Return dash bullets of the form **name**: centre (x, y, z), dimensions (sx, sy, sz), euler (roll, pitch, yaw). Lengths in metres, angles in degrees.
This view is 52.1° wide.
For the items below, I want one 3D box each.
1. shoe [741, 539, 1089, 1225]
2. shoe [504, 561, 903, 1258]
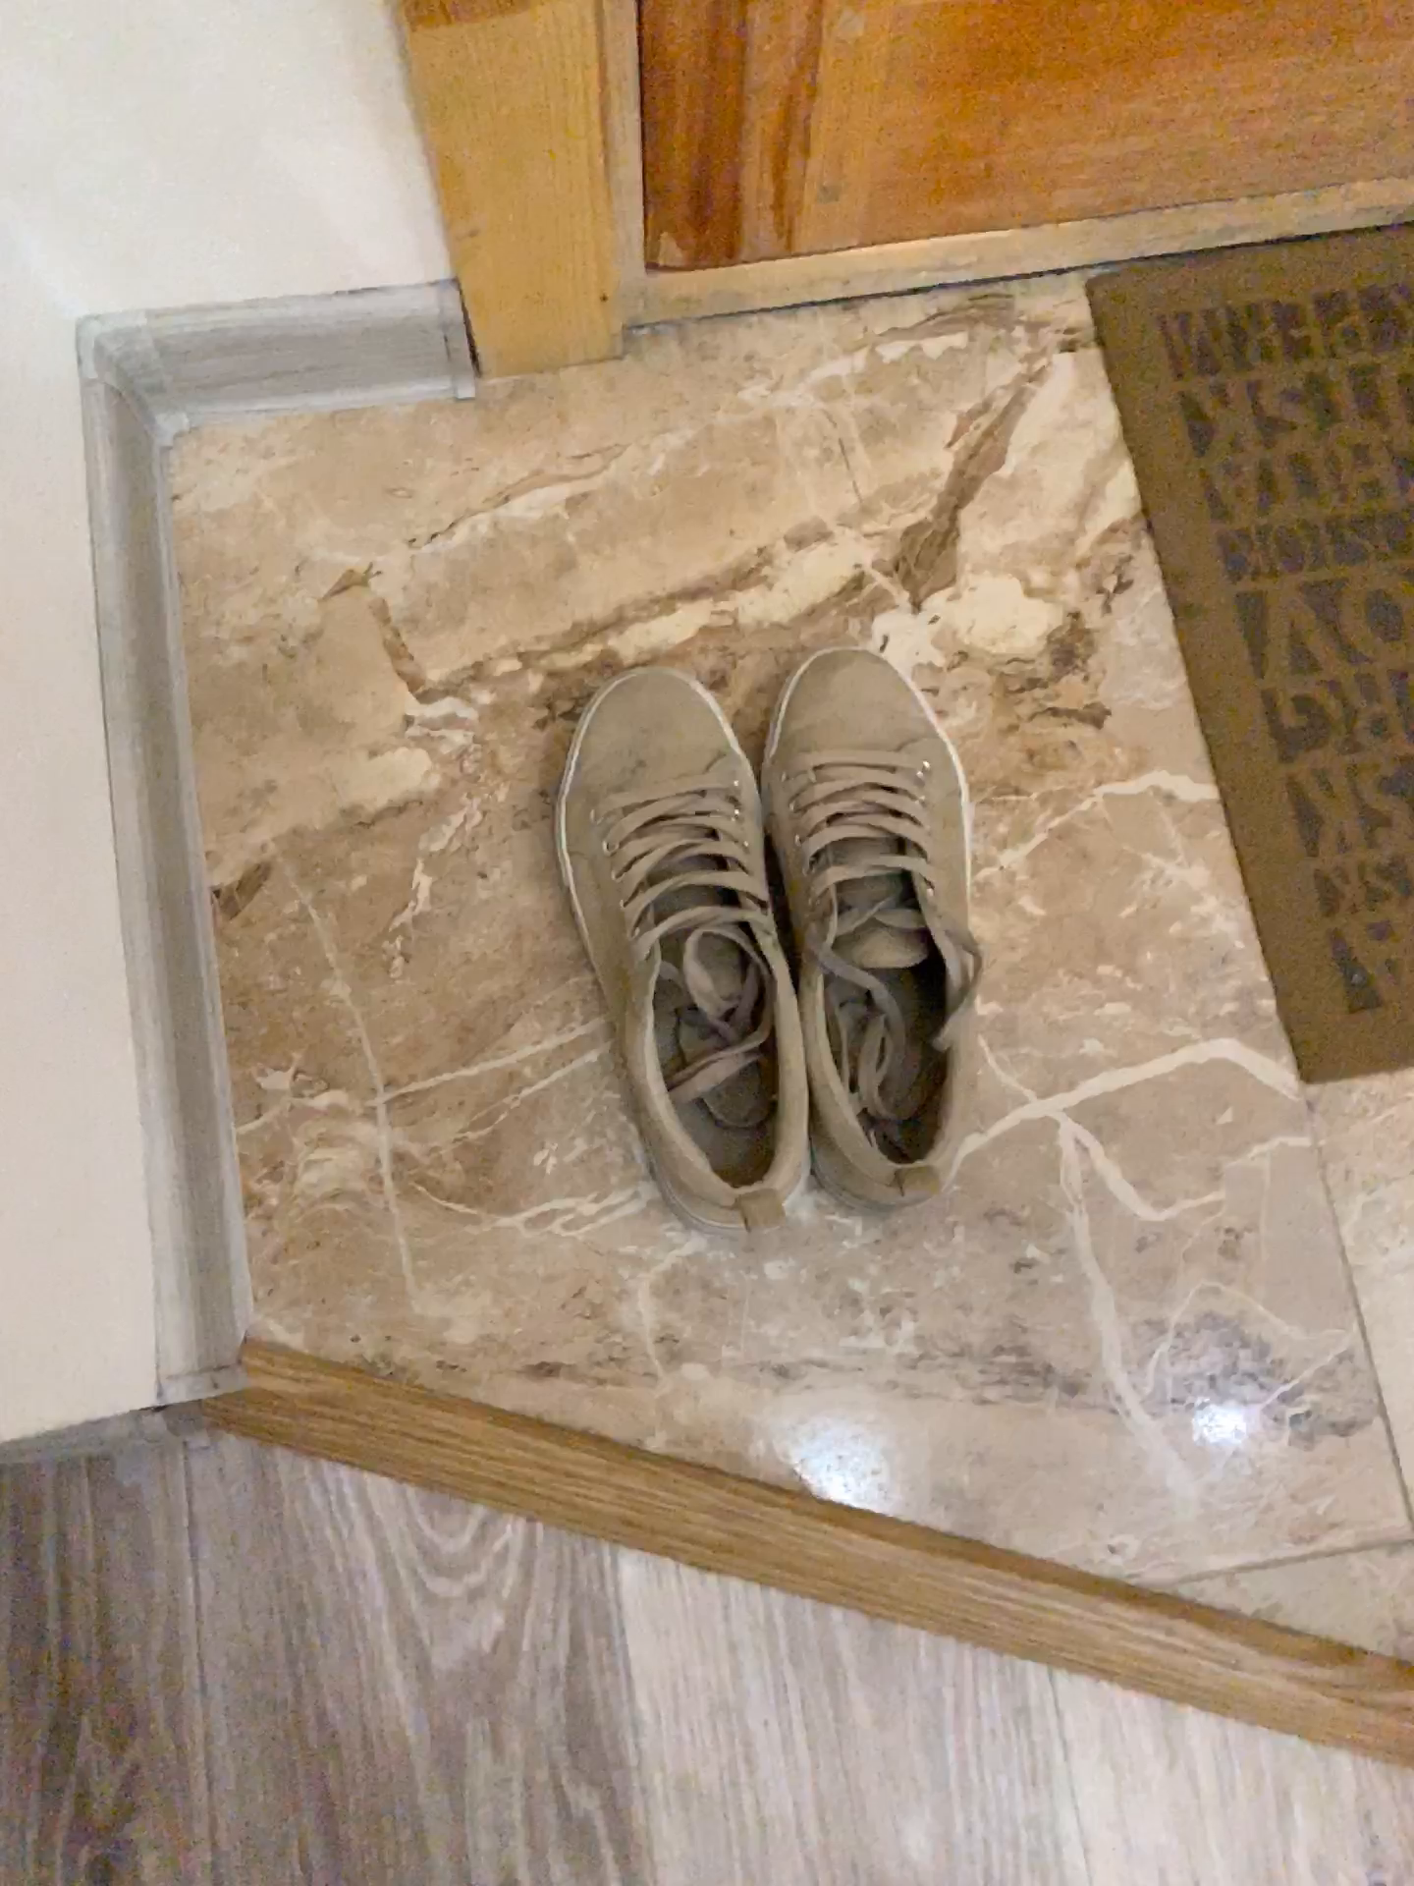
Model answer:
- **shoe**: centre (0.071, -0.019, 0.557), dimensions (0.090, 0.100, 0.240), euler (-5, 77, -2)
- **shoe**: centre (-0.006, -0.009, 0.562), dimensions (0.090, 0.100, 0.240), euler (-12, 77, -4)
